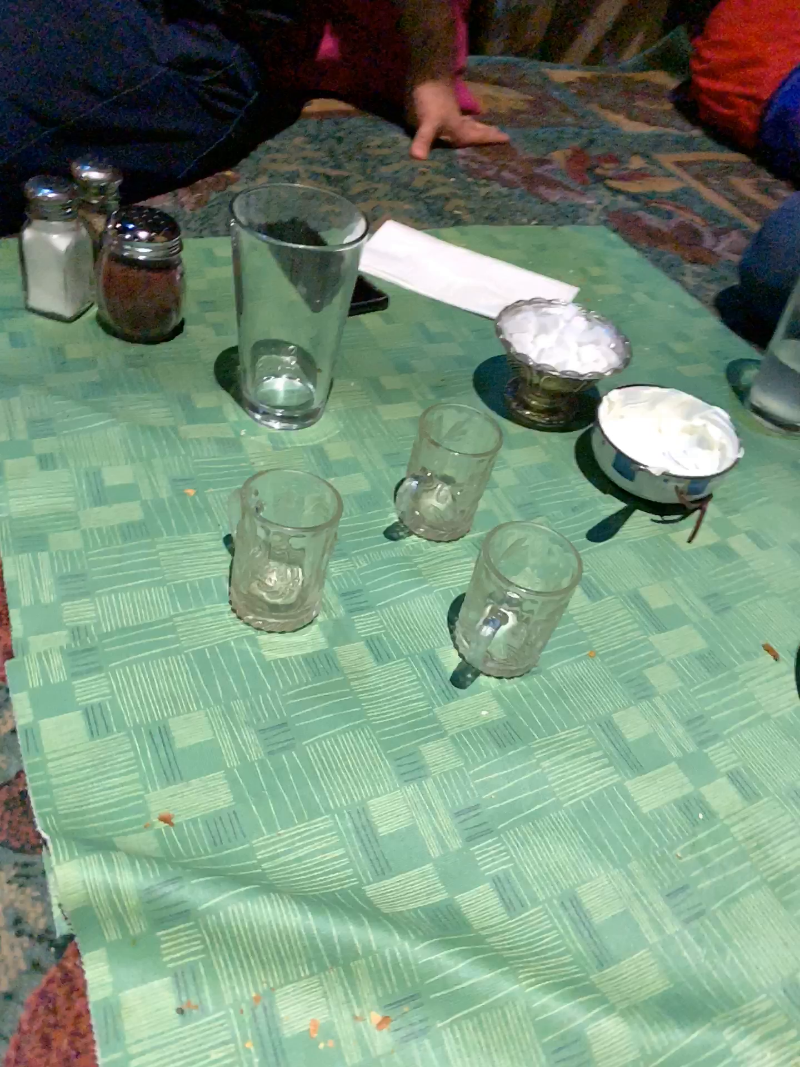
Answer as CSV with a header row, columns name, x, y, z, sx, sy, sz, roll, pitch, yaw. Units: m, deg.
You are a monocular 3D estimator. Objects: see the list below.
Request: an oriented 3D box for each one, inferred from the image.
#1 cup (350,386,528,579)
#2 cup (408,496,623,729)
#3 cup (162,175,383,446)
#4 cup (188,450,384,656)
name,x,y,z,sx,sy,sz,roll,pitch,yaw
cup,0.024,-0.033,0.494,0.060,0.060,0.090,30,46,16
cup,0.062,0.041,0.443,0.060,0.070,0.090,36,48,22
cup,-0.092,-0.155,0.562,0.100,0.129,0.110,-18,52,-29
cup,-0.062,0.008,0.425,0.070,0.050,0.080,-16,51,-27
